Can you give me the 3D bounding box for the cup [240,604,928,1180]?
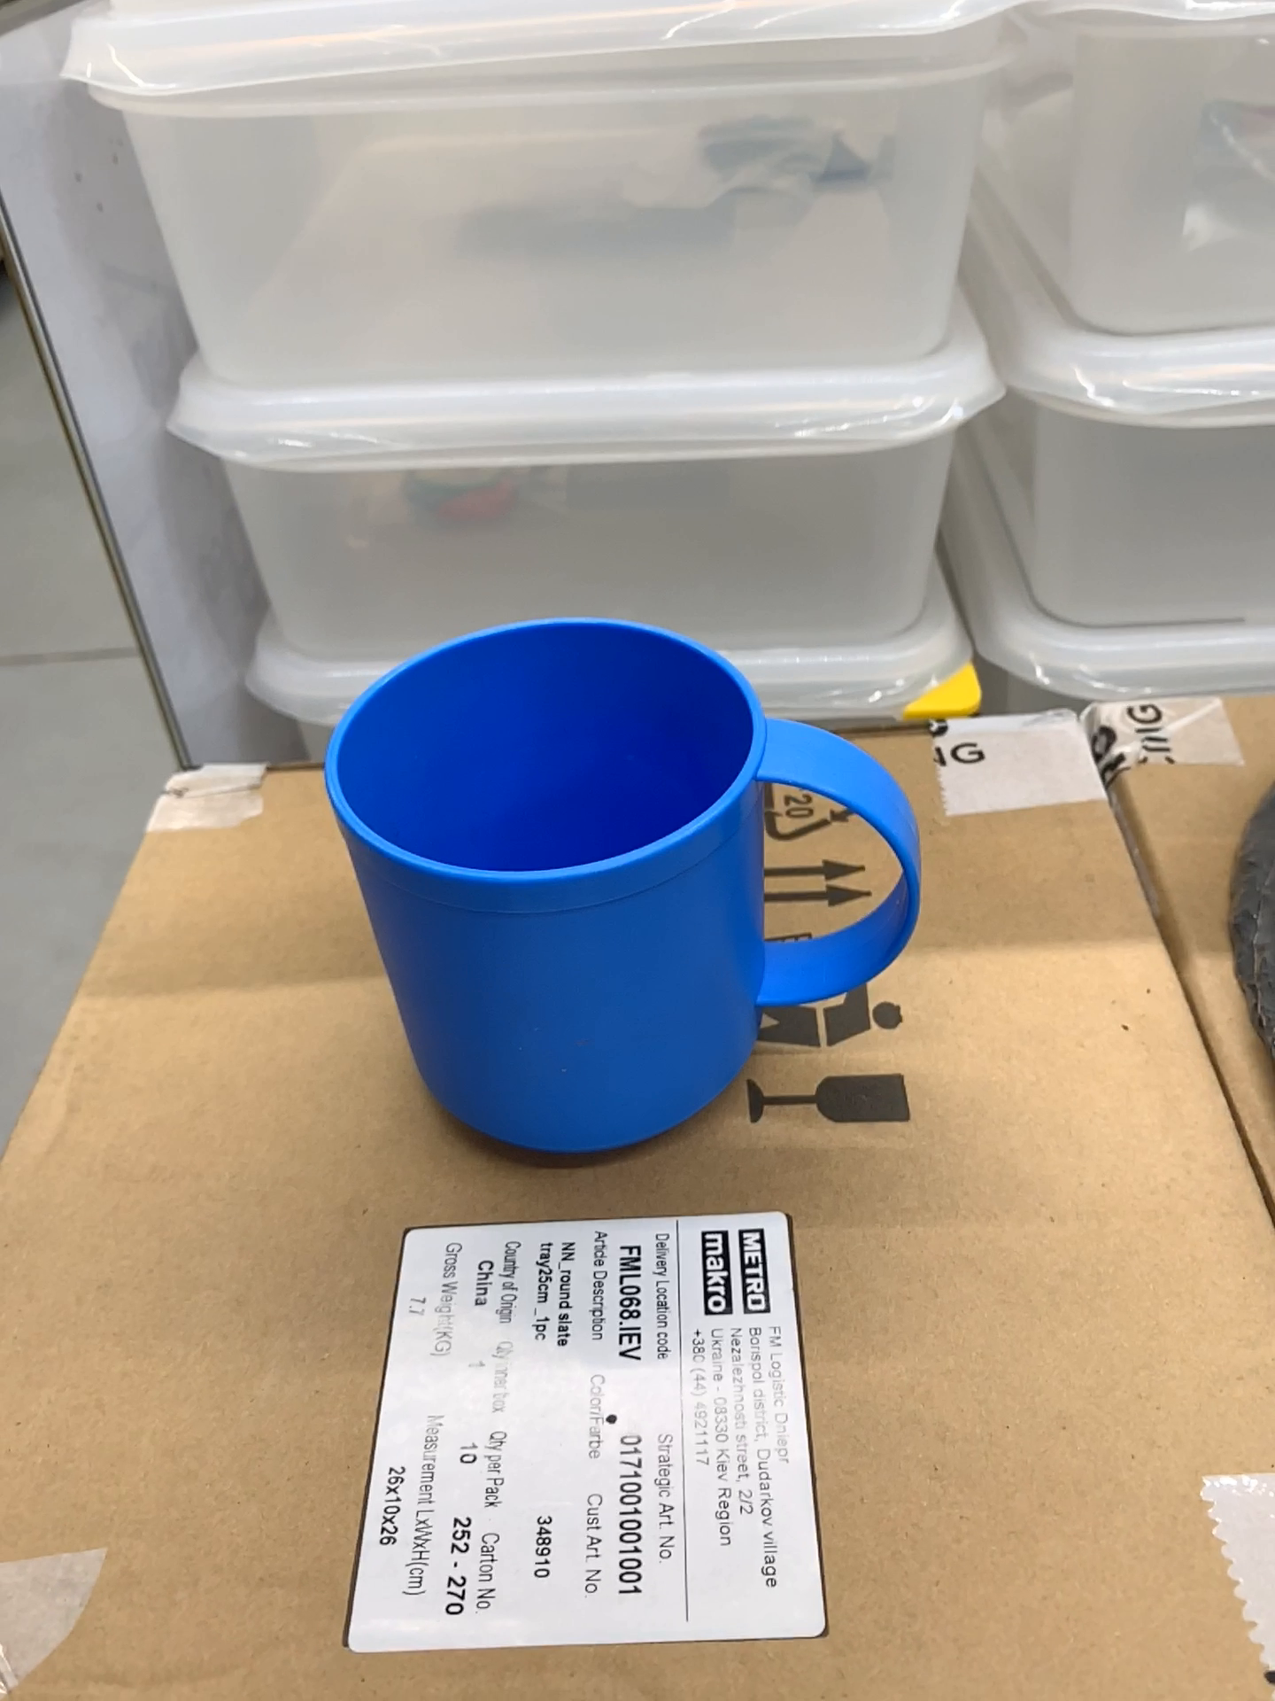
[{"bbox_3d":[-0.003,0.006,0.265,0.109,0.071,0.089,-1,40,7],"label":"cup"}]
